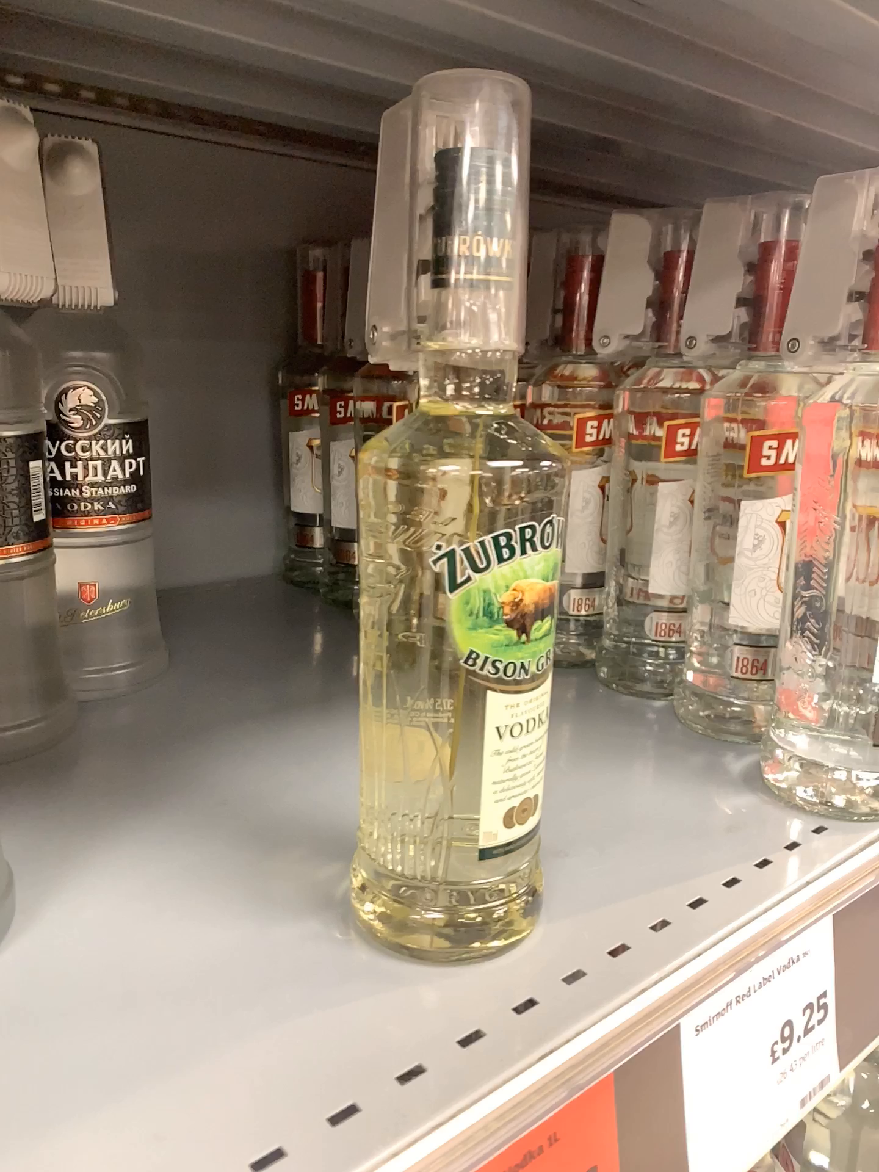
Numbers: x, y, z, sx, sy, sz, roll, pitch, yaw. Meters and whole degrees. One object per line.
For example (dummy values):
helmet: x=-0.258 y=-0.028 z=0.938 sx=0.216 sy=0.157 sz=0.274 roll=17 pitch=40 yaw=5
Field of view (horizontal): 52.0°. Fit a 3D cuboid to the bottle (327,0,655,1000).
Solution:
bottle: x=0.012 y=-0.022 z=0.317 sx=0.076 sy=0.303 sz=0.069 roll=-10 pitch=18 yaw=-41
